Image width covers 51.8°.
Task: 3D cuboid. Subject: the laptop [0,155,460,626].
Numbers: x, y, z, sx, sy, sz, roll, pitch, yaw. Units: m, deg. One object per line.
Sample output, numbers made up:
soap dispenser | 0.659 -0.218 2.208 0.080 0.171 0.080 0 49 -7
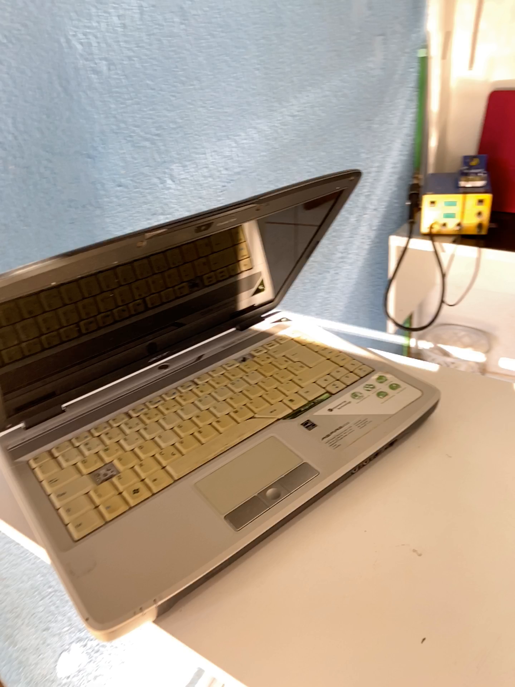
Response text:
laptop | -0.041 -0.013 0.431 0.329 0.179 0.225 -26 36 -29
